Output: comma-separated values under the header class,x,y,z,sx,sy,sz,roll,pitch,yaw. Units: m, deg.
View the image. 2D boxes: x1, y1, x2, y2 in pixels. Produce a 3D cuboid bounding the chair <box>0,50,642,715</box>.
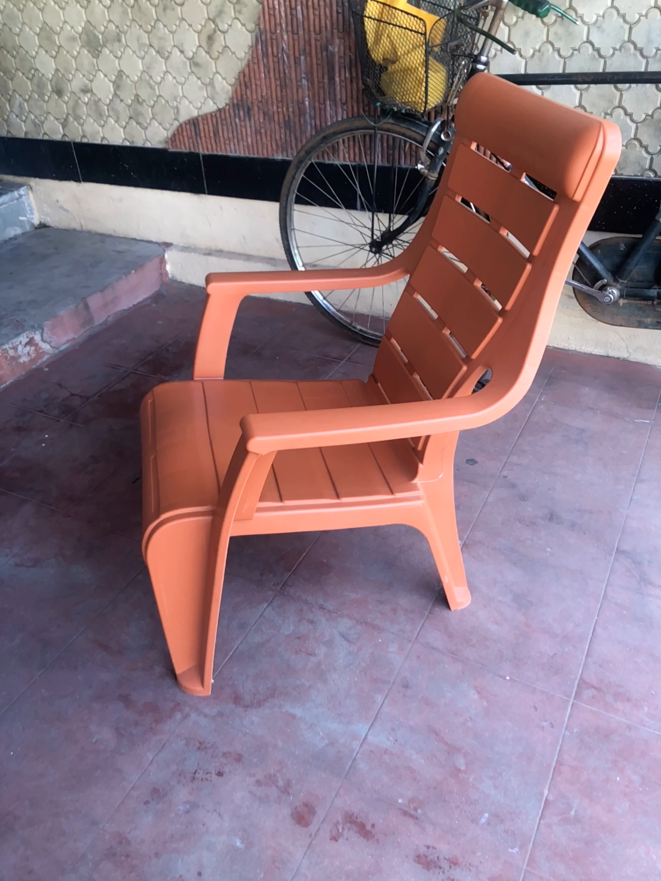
class,x,y,z,sx,sy,sz,roll,pitch,yaw
chair,-0.071,-0.151,1.249,0.761,0.786,0.693,-11,35,-8
